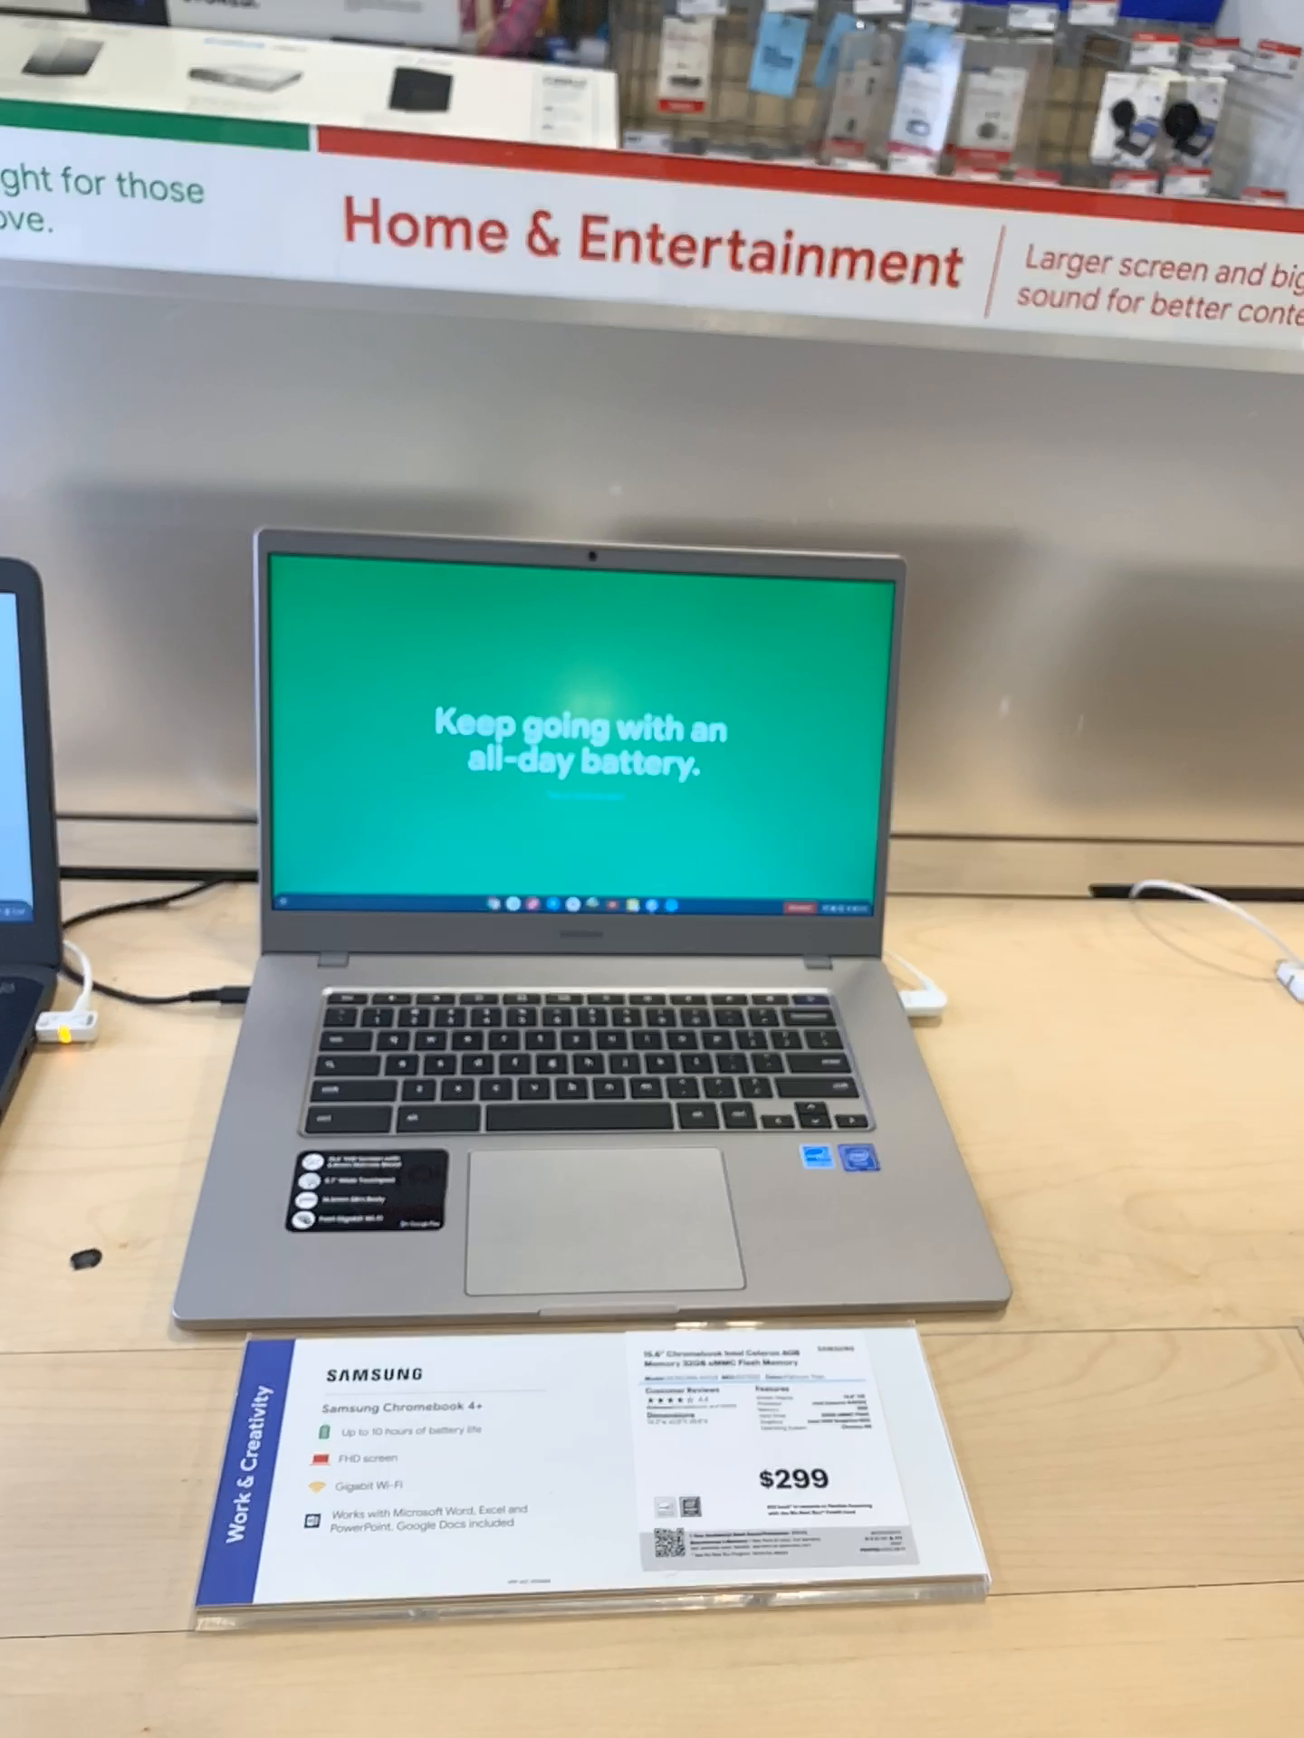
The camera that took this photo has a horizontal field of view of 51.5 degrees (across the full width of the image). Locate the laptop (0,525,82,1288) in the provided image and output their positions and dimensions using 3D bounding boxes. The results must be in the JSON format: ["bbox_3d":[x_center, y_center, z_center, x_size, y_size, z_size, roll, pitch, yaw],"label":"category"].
[{"bbox_3d":[-0.446,-0.002,0.581,0.300,0.191,0.288,0,32,-8],"label":"laptop"}]

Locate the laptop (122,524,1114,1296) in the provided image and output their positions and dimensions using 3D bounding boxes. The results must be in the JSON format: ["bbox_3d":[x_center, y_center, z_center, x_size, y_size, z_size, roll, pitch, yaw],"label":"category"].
[{"bbox_3d":[-0.026,-0.003,0.648,0.340,0.200,0.326,1,34,-6],"label":"laptop"}]
